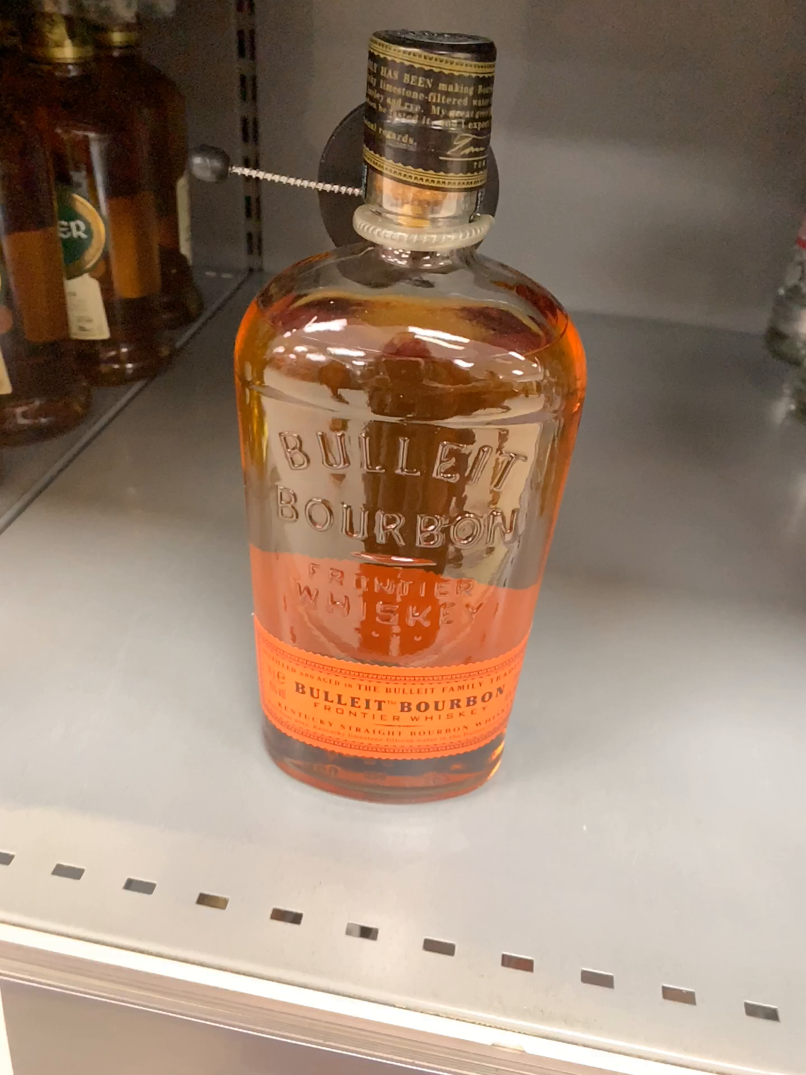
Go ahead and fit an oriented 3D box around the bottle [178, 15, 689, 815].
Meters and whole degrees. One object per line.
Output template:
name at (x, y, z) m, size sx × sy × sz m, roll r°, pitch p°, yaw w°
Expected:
bottle at (0.001, -0.018, 0.252) m, size 0.100 × 0.228 × 0.061 m, roll 5°, pitch 35°, yaw 2°
